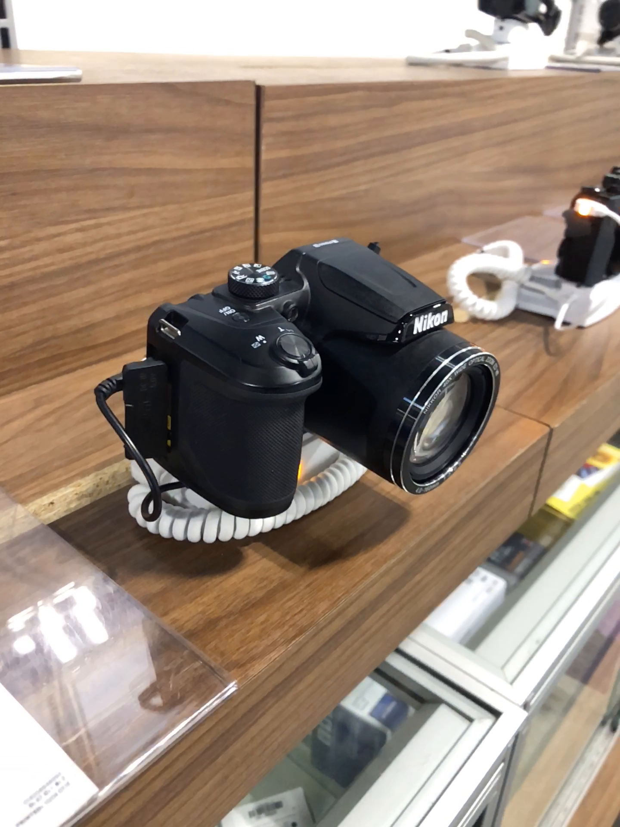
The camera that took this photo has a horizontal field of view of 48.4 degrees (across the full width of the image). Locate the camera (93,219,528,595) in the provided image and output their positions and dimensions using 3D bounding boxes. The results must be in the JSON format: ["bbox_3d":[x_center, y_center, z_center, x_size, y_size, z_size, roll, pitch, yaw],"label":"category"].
[{"bbox_3d":[0.000,-0.016,0.265,0.110,0.079,0.110,25,36,35],"label":"camera"}]
